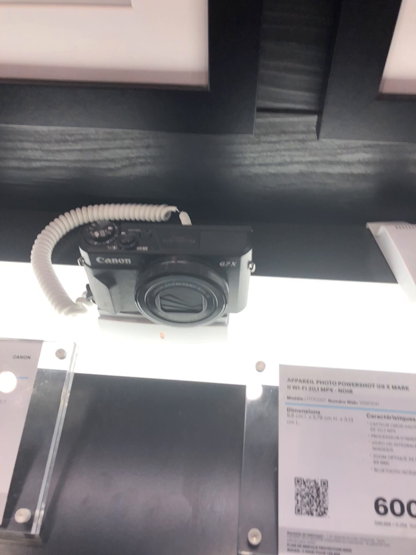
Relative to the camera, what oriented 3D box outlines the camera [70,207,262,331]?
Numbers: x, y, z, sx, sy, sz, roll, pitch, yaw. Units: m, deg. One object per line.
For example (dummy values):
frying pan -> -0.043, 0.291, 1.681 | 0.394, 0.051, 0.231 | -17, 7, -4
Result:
camera -> -0.024, -0.003, 0.301 | 0.110, 0.079, 0.030 | 2, 46, 2
